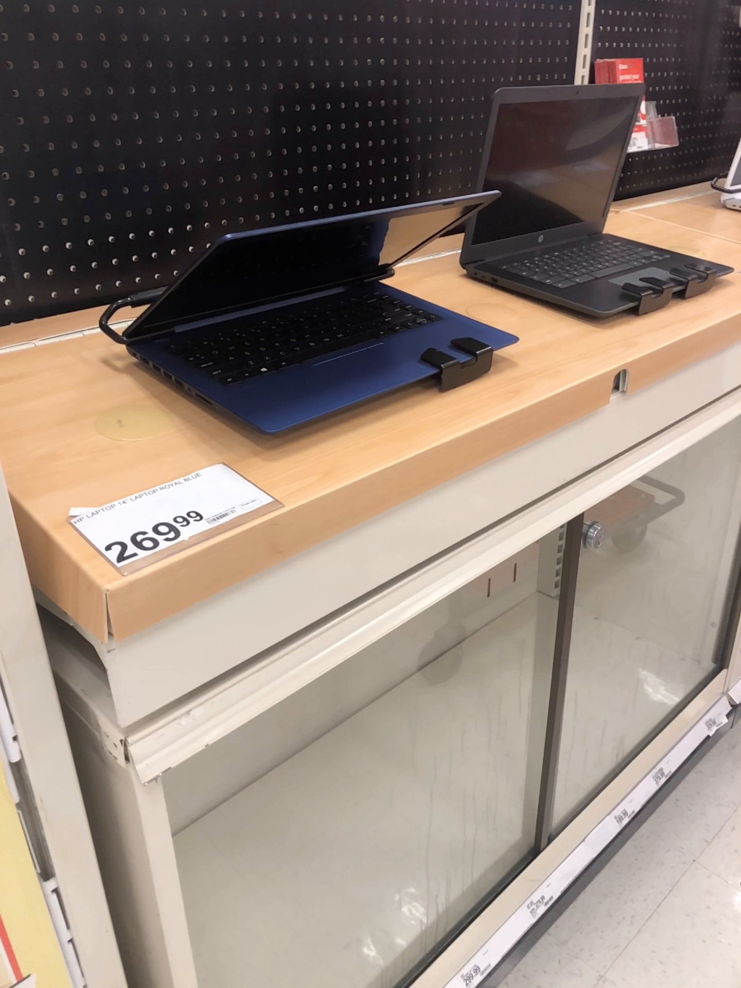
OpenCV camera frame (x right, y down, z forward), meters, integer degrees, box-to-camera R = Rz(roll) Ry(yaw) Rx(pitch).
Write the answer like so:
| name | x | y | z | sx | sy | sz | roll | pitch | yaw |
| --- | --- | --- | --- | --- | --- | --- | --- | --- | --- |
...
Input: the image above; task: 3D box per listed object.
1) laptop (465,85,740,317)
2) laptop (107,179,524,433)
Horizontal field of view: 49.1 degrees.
| name | x | y | z | sx | sy | sz | roll | pitch | yaw |
| --- | --- | --- | --- | --- | --- | --- | --- | --- | --- |
| laptop | 0.310 | -0.396 | 1.046 | 0.331 | 0.206 | 0.224 | -23 | 37 | -36 |
| laptop | -0.037 | -0.195 | 0.754 | 0.321 | 0.110 | 0.201 | -26 | 42 | -38 |
